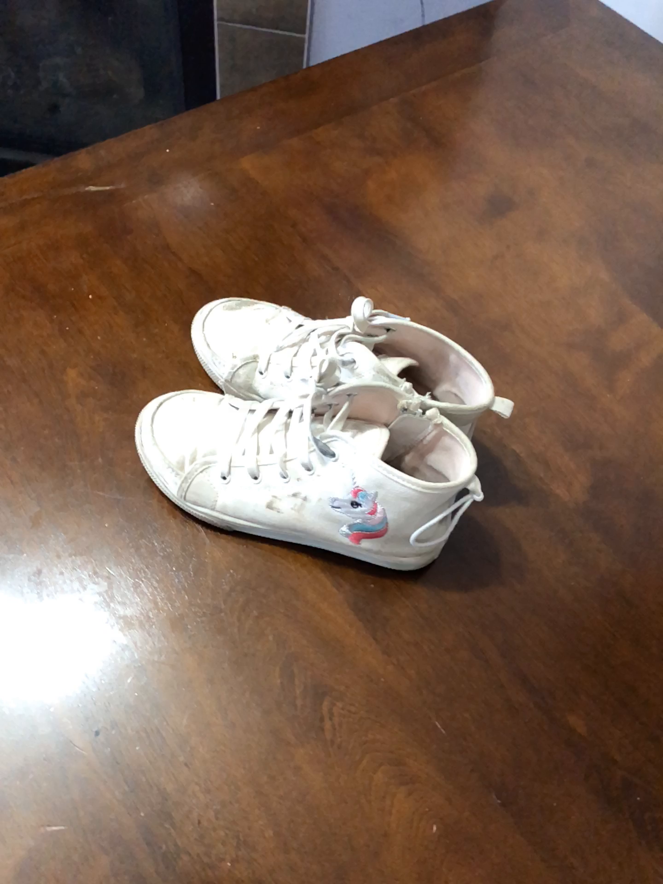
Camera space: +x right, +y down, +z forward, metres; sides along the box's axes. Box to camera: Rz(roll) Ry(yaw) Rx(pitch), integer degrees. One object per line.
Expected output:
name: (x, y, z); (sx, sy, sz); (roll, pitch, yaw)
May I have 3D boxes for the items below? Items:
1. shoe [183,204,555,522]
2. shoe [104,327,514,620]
shoe: (0.019, -0.054, 0.504); (0.220, 0.100, 0.090); (28, 59, 10)
shoe: (-0.013, 0.023, 0.464); (0.220, 0.100, 0.090); (17, 58, 3)
